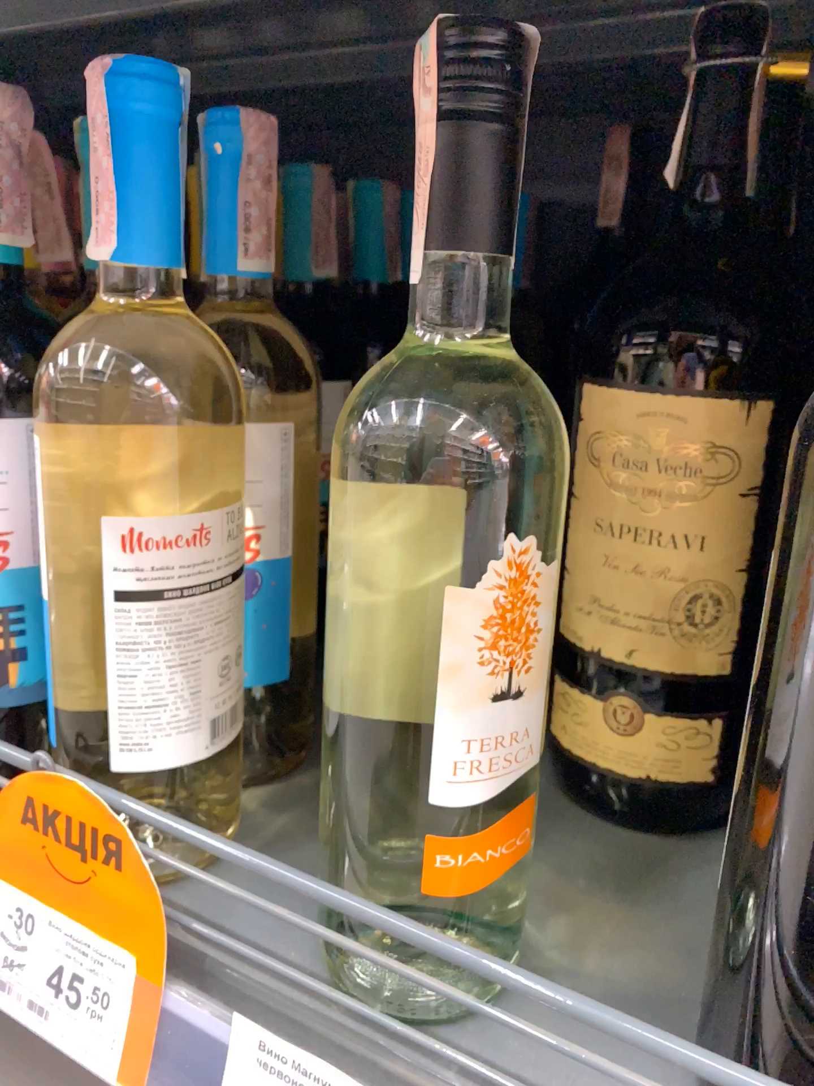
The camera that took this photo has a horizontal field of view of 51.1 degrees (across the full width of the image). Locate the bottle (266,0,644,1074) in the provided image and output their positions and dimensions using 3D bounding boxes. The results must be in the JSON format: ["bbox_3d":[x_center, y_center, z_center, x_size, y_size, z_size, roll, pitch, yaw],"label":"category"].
[{"bbox_3d":[0.007,0.004,0.263,0.070,0.294,0.070,2,16,0],"label":"bottle"}]
